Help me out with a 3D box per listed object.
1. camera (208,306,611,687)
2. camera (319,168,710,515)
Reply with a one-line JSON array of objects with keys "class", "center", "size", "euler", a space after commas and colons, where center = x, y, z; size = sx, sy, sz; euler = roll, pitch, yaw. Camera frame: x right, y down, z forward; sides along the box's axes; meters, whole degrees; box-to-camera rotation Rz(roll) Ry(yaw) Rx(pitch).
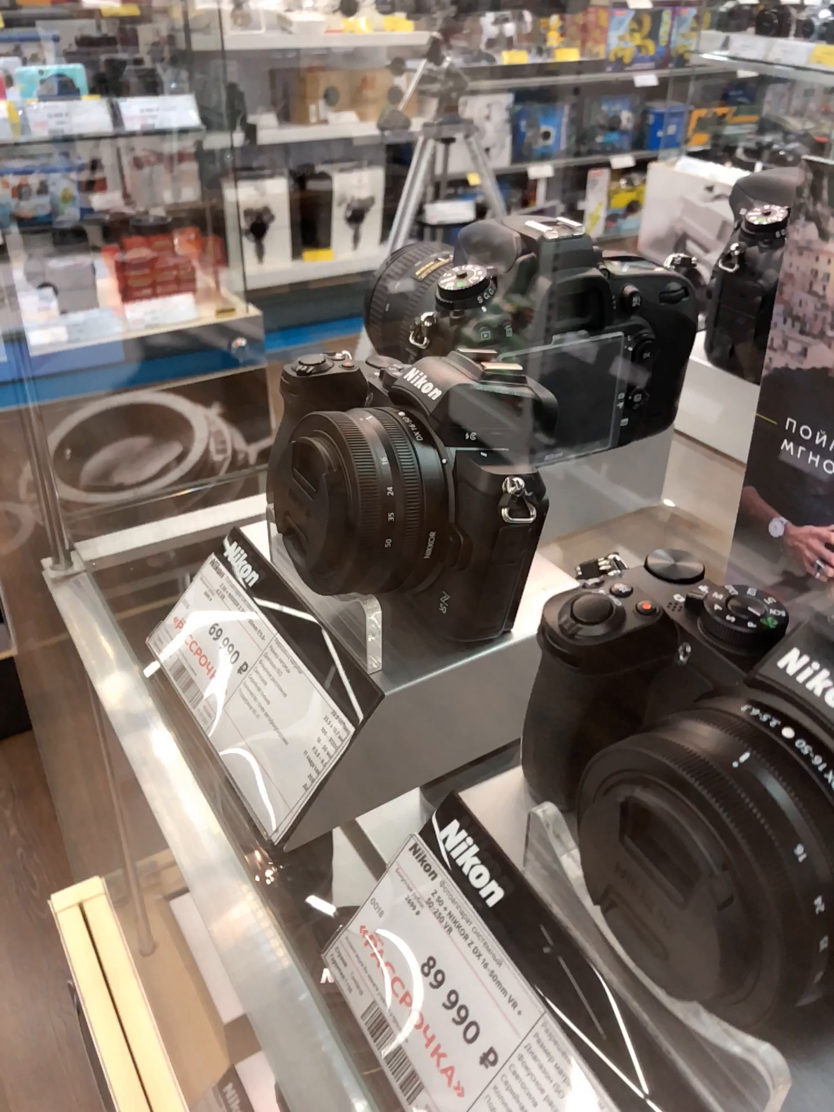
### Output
[{"class": "camera", "center": [-0.012, -0.031, 0.359], "size": [0.090, 0.092, 0.127], "euler": [-6, 32, -32]}, {"class": "camera", "center": [0.040, -0.121, 0.483], "size": [0.129, 0.111, 0.150], "euler": [-16, 40, -24]}]
